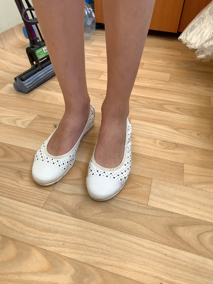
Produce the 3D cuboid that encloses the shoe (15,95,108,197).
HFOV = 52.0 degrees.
[{"bbox_3d":[-0.088,-0.010,0.532,0.100,0.070,0.271,13,44,14],"label":"shoe"}]

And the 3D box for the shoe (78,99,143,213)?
[{"bbox_3d":[0.022,0.009,0.485,0.090,0.070,0.271,8,43,8],"label":"shoe"}]
